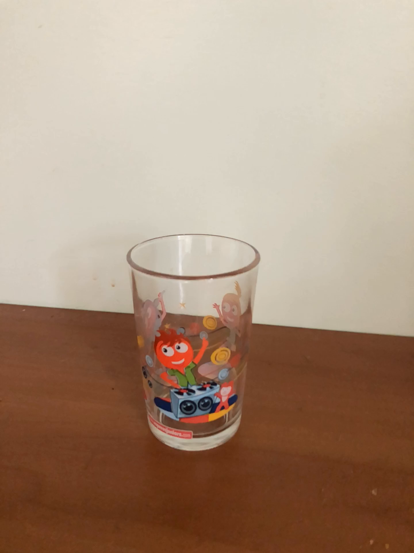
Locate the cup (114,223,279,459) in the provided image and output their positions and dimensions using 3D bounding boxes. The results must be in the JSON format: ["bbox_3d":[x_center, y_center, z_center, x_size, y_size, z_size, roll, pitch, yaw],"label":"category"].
[{"bbox_3d":[-0.003,0.030,0.245,0.070,0.100,0.070,0,21,0],"label":"cup"}]
